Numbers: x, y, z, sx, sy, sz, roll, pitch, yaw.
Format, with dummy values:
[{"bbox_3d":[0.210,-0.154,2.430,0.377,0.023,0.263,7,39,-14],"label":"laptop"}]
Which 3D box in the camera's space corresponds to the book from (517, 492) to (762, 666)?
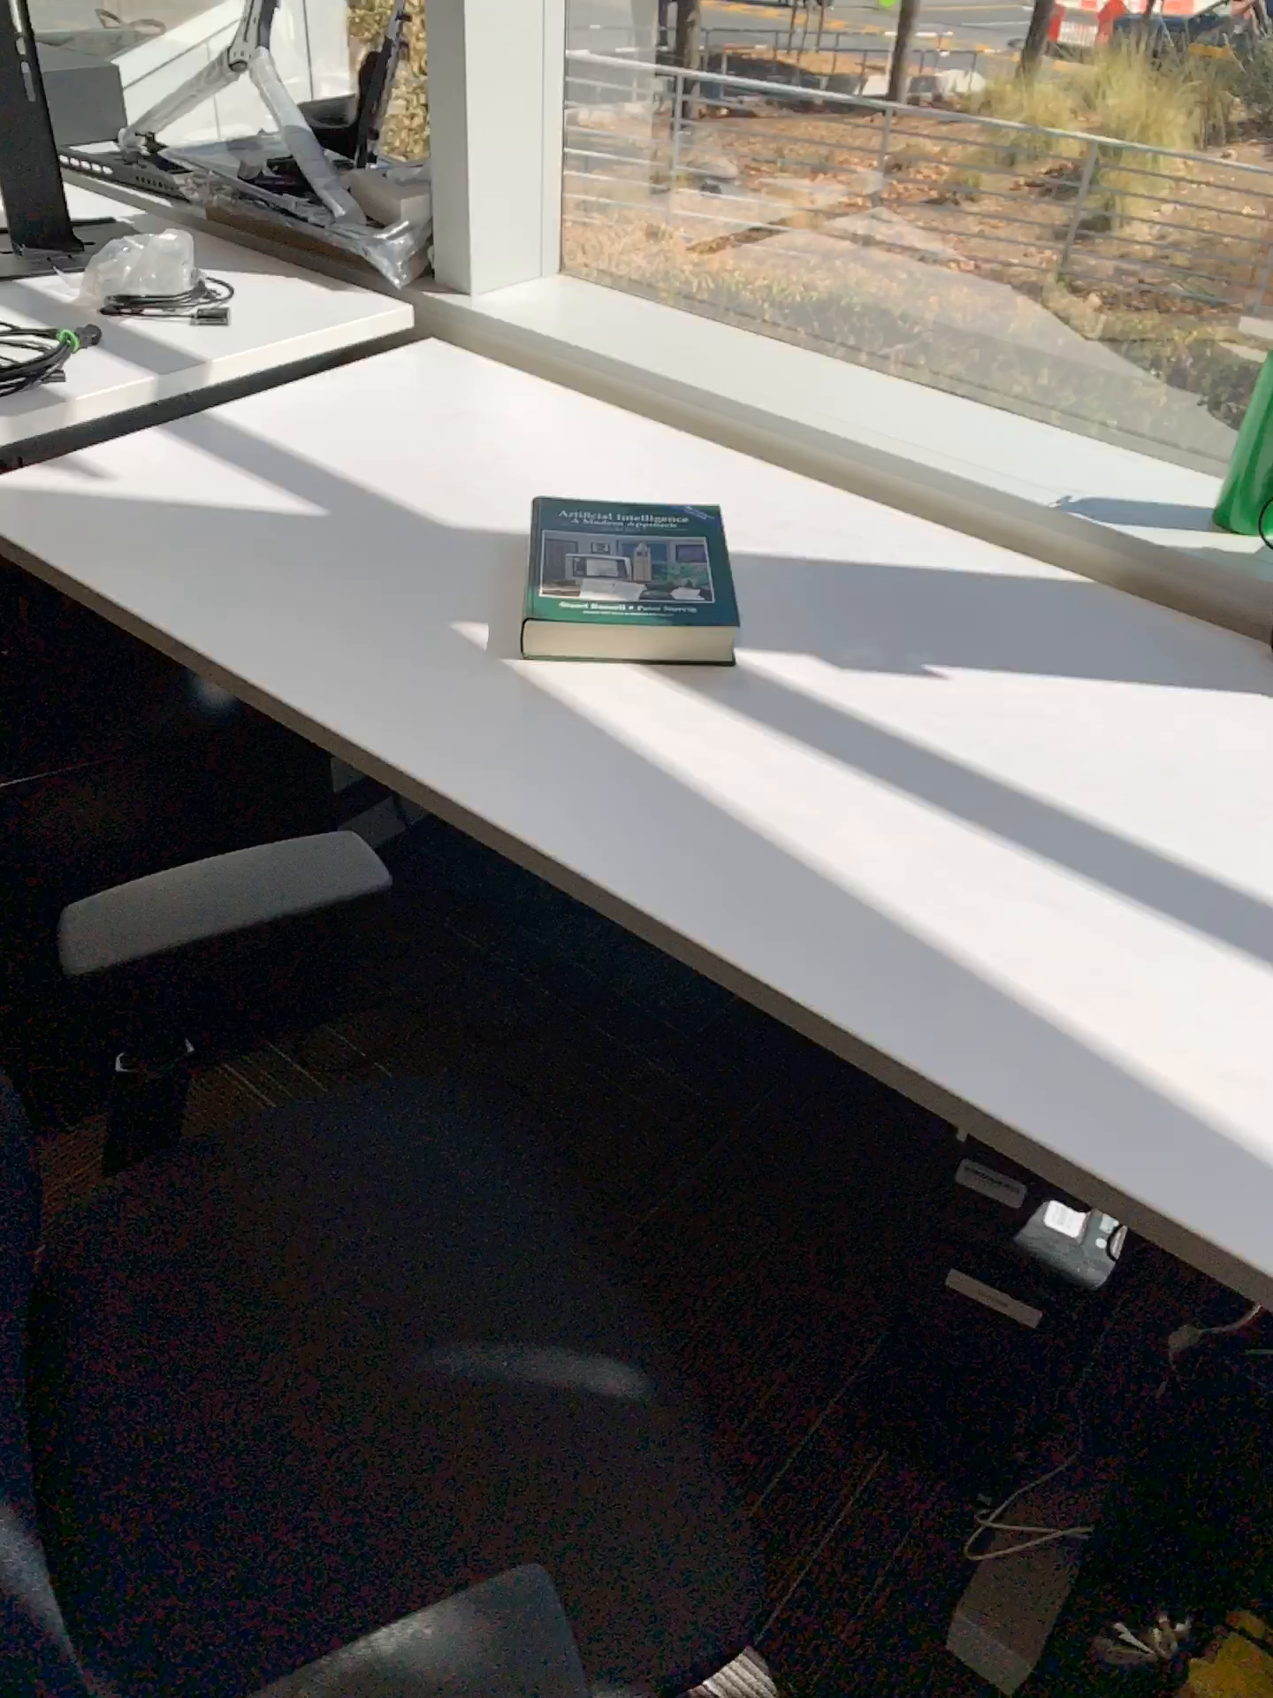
[{"bbox_3d":[-0.001,-0.283,1.344,0.230,0.050,0.262,2,39,-3],"label":"book"}]
